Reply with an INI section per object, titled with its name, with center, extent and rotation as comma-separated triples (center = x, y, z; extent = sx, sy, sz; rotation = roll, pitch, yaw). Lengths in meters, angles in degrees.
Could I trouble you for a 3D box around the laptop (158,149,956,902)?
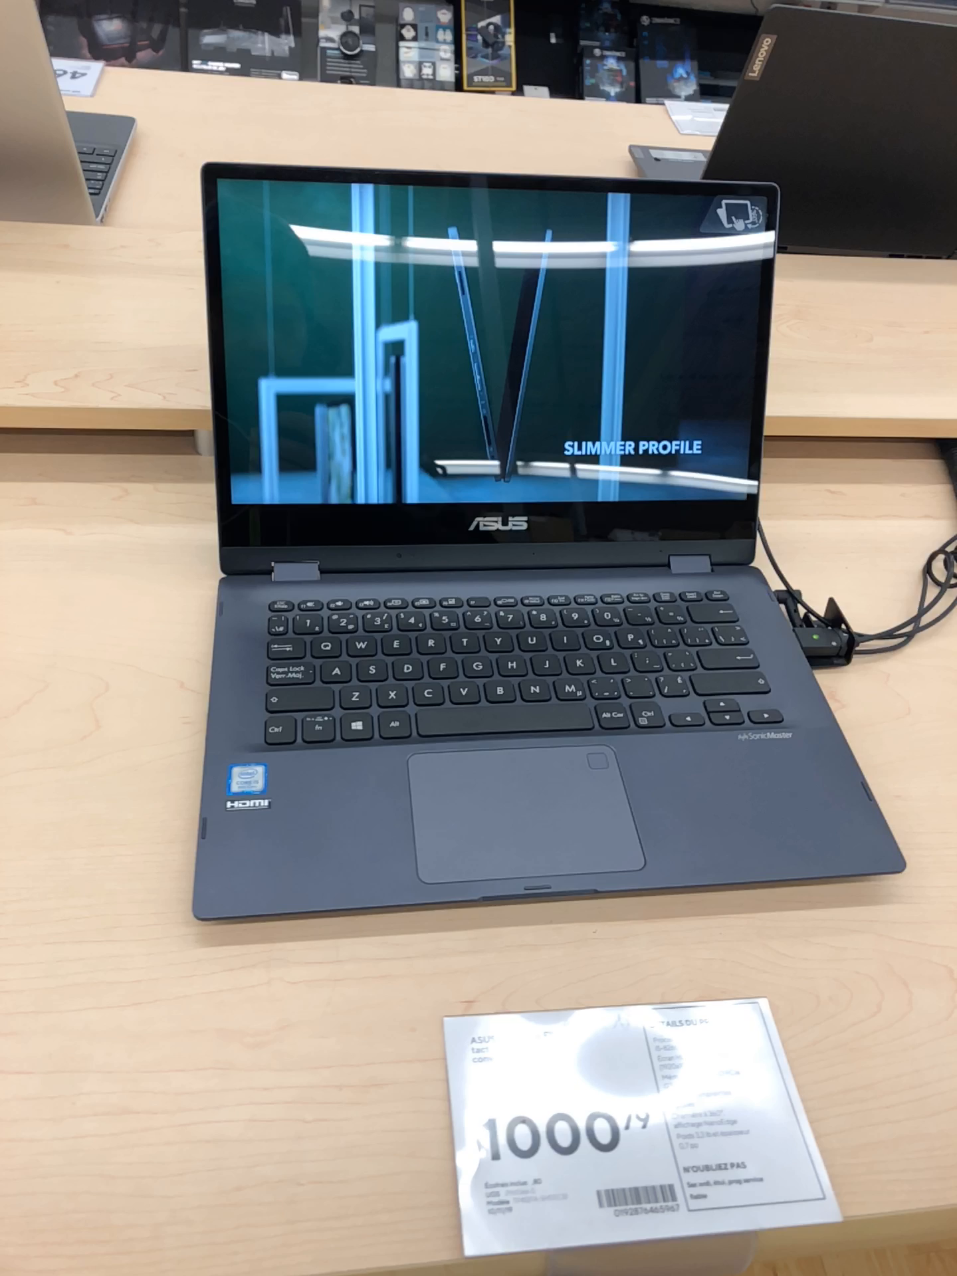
[laptop]
center = 0.027, -0.071, 0.525
extent = 0.320, 0.184, 0.332
rotation = -1, 46, -9
